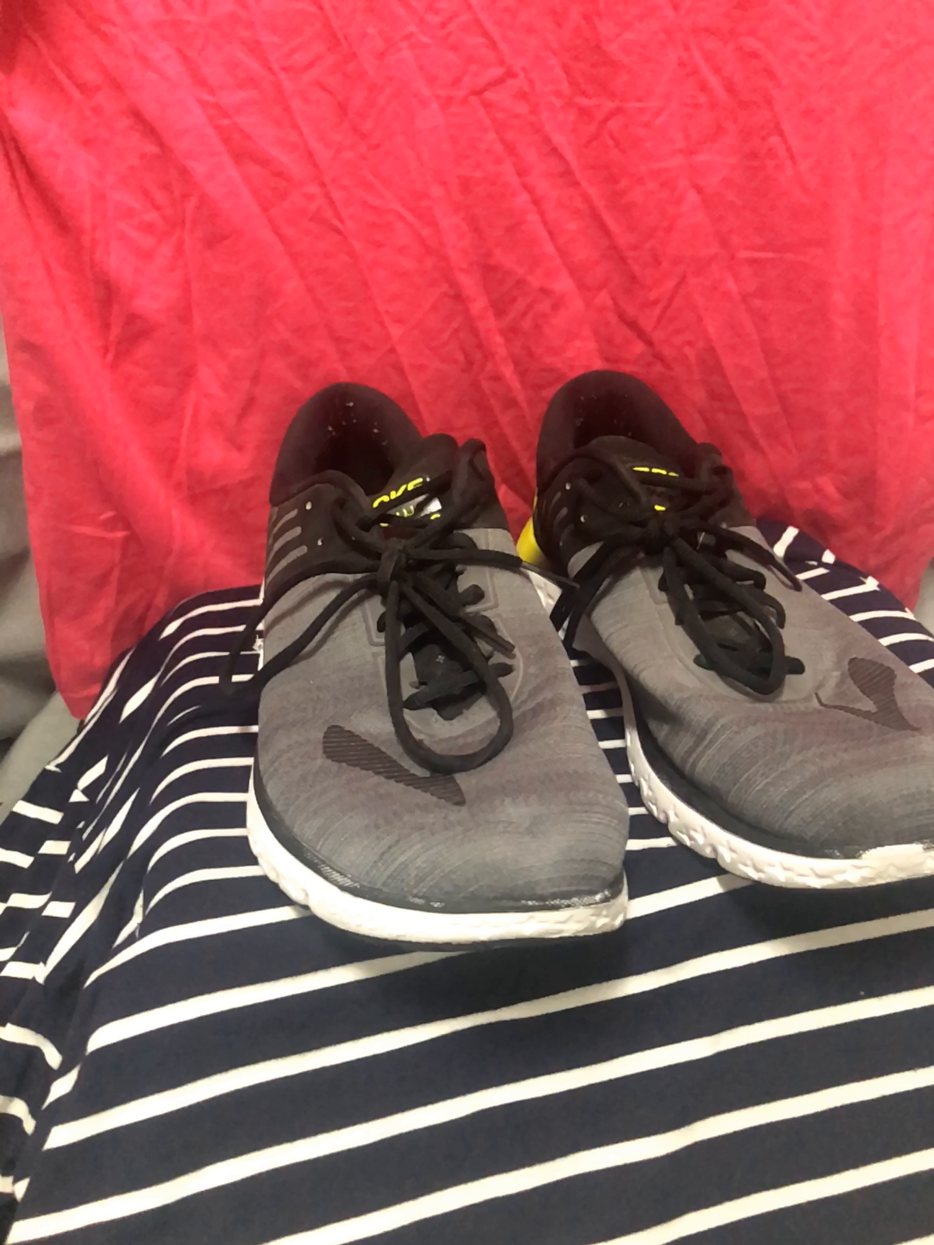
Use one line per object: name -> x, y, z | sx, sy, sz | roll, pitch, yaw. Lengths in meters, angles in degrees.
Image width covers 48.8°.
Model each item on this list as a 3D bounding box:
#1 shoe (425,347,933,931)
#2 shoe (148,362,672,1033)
shoe -> 0.070, -0.027, 0.372 | 0.104, 0.079, 0.282 | -8, 28, -13
shoe -> -0.046, -0.014, 0.351 | 0.102, 0.079, 0.292 | -9, 28, -14
